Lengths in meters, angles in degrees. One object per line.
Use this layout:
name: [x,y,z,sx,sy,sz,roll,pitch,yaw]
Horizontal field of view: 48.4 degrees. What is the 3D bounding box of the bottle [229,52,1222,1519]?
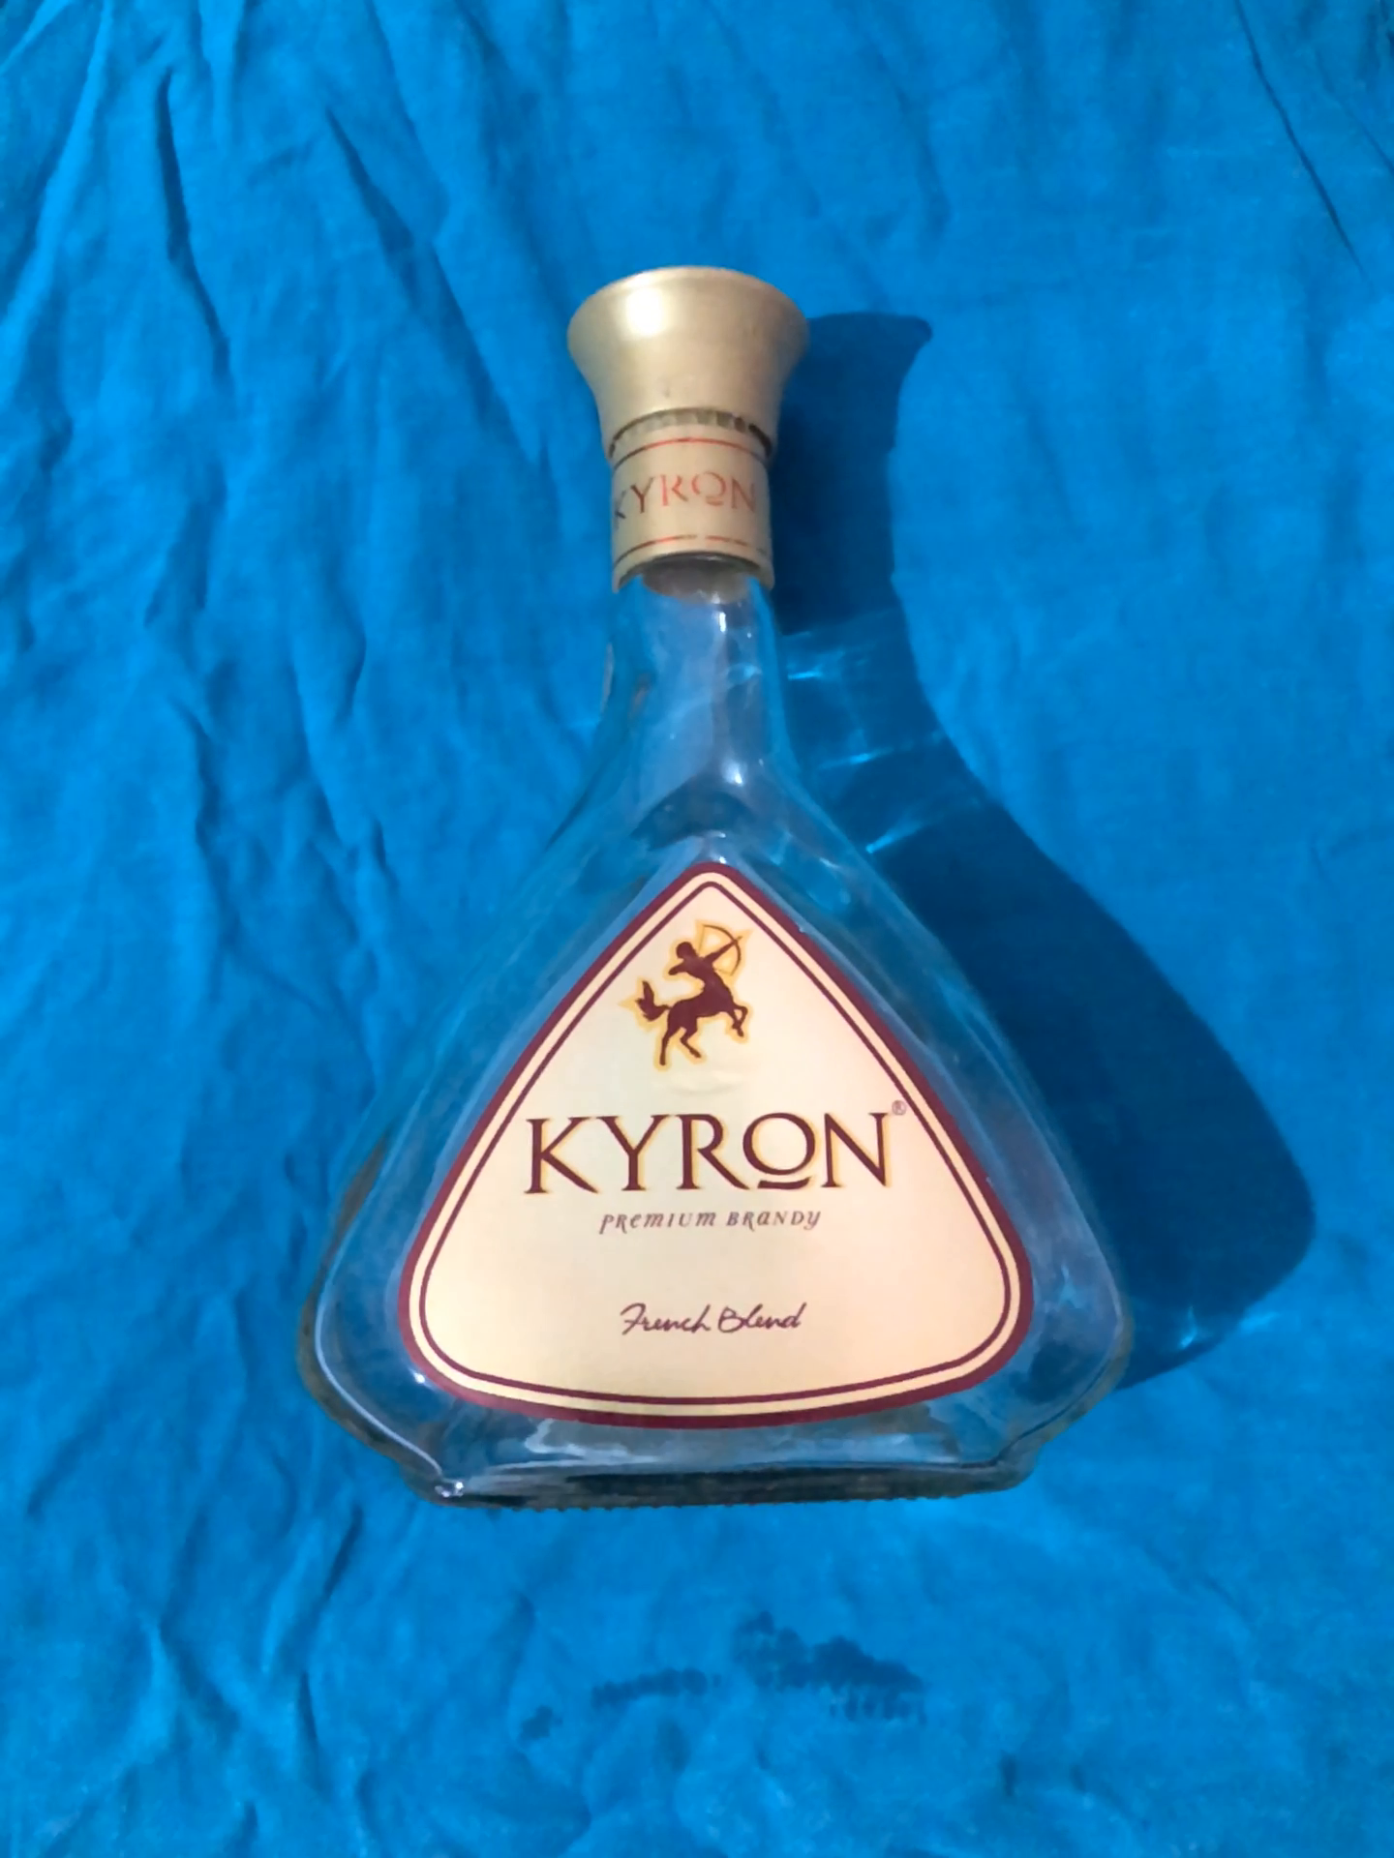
bottle: [0.002,-0.025,0.293,0.150,0.080,0.240,-2,81,3]
